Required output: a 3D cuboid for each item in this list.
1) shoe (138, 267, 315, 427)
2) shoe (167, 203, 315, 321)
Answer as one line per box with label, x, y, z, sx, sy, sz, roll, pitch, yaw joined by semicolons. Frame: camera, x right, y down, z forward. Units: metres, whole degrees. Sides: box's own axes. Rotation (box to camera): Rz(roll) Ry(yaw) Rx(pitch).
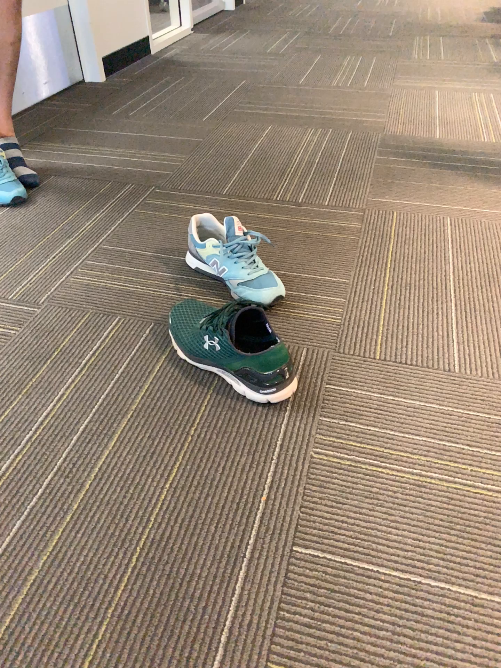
shoe;-0.052;0.008;0.920;0.140;0.089;0.321;-29;47;-30
shoe;-0.025;-0.163;1.079;0.170;0.089;0.281;-27;46;-27
